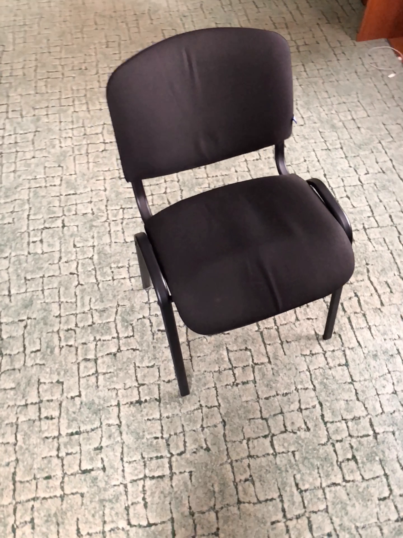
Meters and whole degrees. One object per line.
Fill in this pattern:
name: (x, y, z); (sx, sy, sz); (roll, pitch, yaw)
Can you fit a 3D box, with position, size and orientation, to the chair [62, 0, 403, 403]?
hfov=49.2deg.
chair: (0.076, -0.128, 1.204); (0.581, 0.785, 0.603); (-18, 60, -10)
